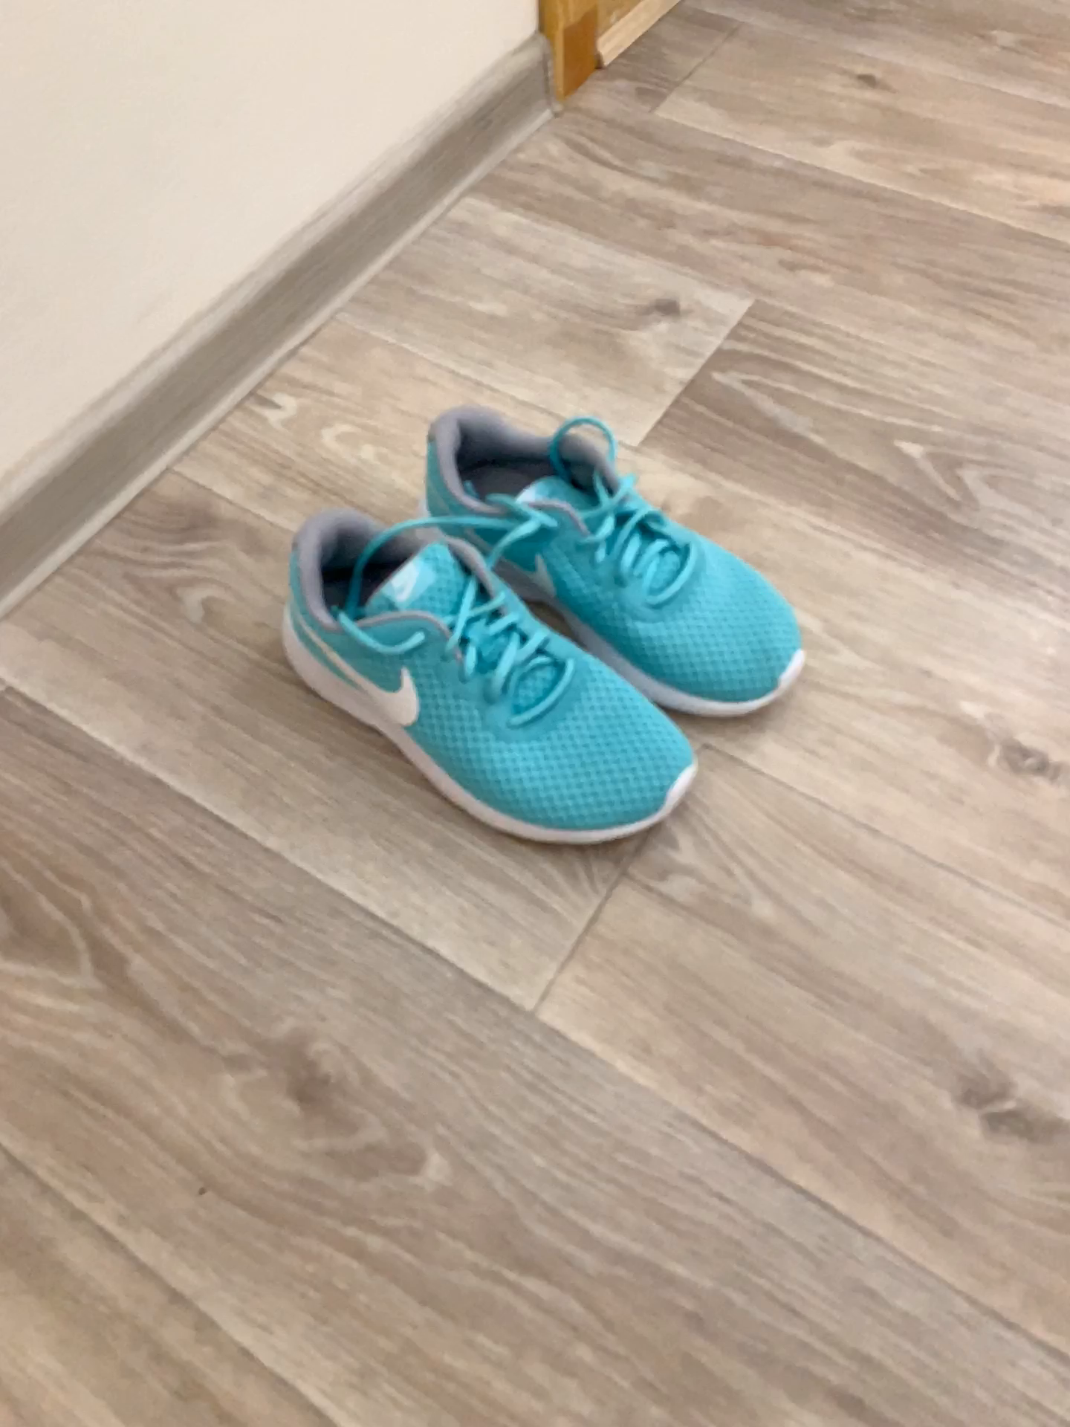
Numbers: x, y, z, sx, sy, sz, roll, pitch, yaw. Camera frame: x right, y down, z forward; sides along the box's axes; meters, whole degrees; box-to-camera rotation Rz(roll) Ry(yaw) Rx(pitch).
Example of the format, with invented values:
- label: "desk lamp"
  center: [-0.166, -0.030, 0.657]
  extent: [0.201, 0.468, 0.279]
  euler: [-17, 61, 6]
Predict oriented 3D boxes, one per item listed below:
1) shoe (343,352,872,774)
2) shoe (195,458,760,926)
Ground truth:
- label: "shoe"
  center: [0.033, -0.085, 0.580]
  extent: [0.250, 0.090, 0.098]
  euler: [29, 63, 19]
- label: "shoe"
  center: [-0.030, -0.016, 0.541]
  extent: [0.250, 0.090, 0.101]
  euler: [29, 63, 19]
